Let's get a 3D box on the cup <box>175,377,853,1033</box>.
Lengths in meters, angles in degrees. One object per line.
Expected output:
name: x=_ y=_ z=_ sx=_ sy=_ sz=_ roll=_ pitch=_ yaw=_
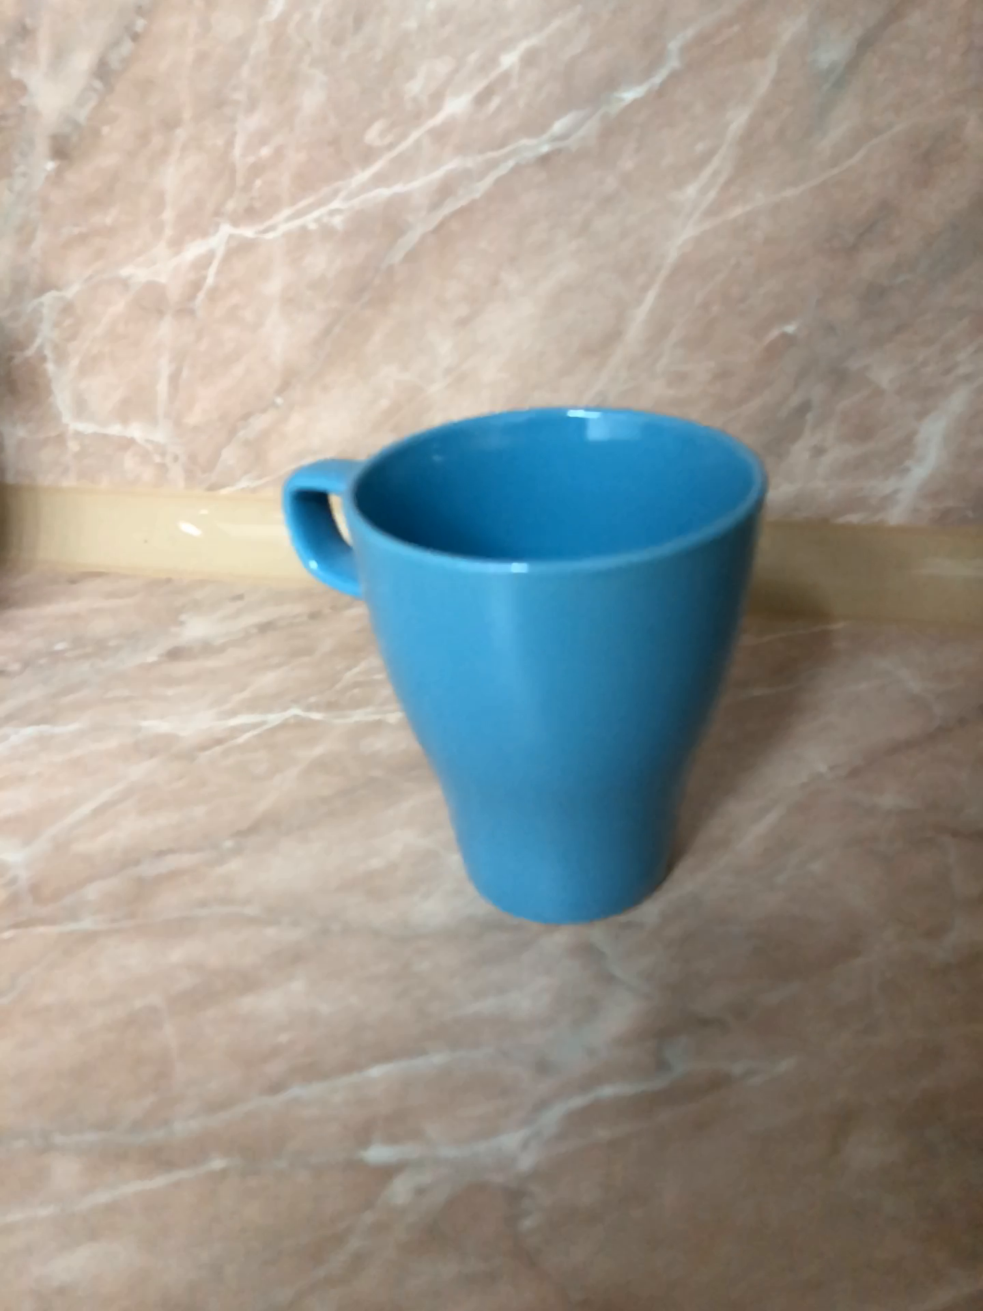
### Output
cup: x=0.006 y=0.000 z=0.244 sx=0.111 sy=0.089 sz=0.086 roll=20 pitch=38 yaw=35
